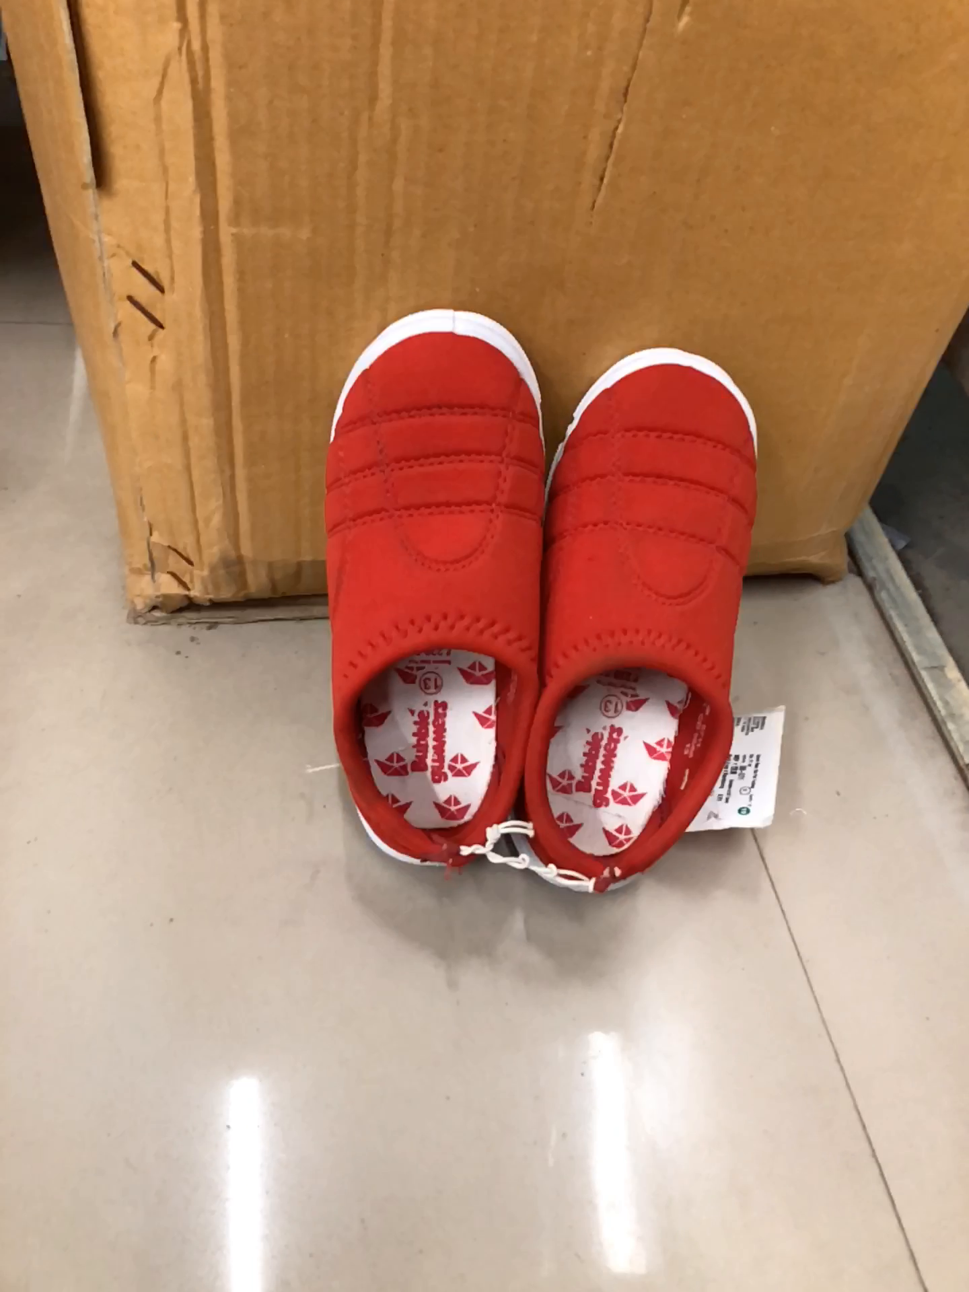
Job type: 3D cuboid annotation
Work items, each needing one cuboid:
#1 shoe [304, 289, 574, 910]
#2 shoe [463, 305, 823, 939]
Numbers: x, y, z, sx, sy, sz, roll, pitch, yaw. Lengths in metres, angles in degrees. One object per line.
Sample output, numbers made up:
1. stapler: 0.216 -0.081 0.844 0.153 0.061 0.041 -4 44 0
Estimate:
1. shoe: -0.021 -0.018 0.393 0.084 0.204 0.082 0 12 -8
2. shoe: 0.055 -0.010 0.409 0.084 0.208 0.081 10 8 2
